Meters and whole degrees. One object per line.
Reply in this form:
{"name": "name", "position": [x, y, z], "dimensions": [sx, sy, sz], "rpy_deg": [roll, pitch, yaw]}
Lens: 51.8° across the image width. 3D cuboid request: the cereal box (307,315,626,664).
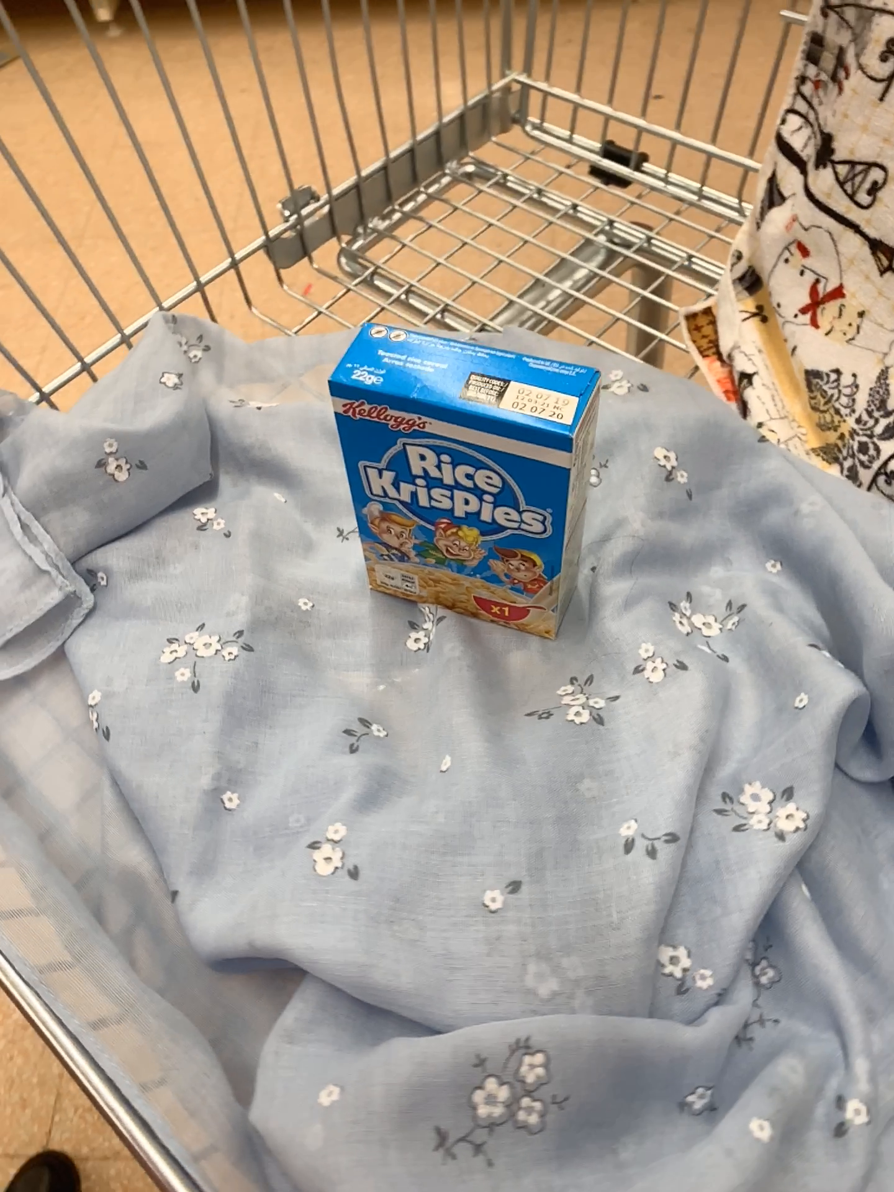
{"name": "cereal box", "position": [0.011, -0.035, 0.368], "dimensions": [0.100, 0.139, 0.040], "rpy_deg": [14, 59, 13]}
